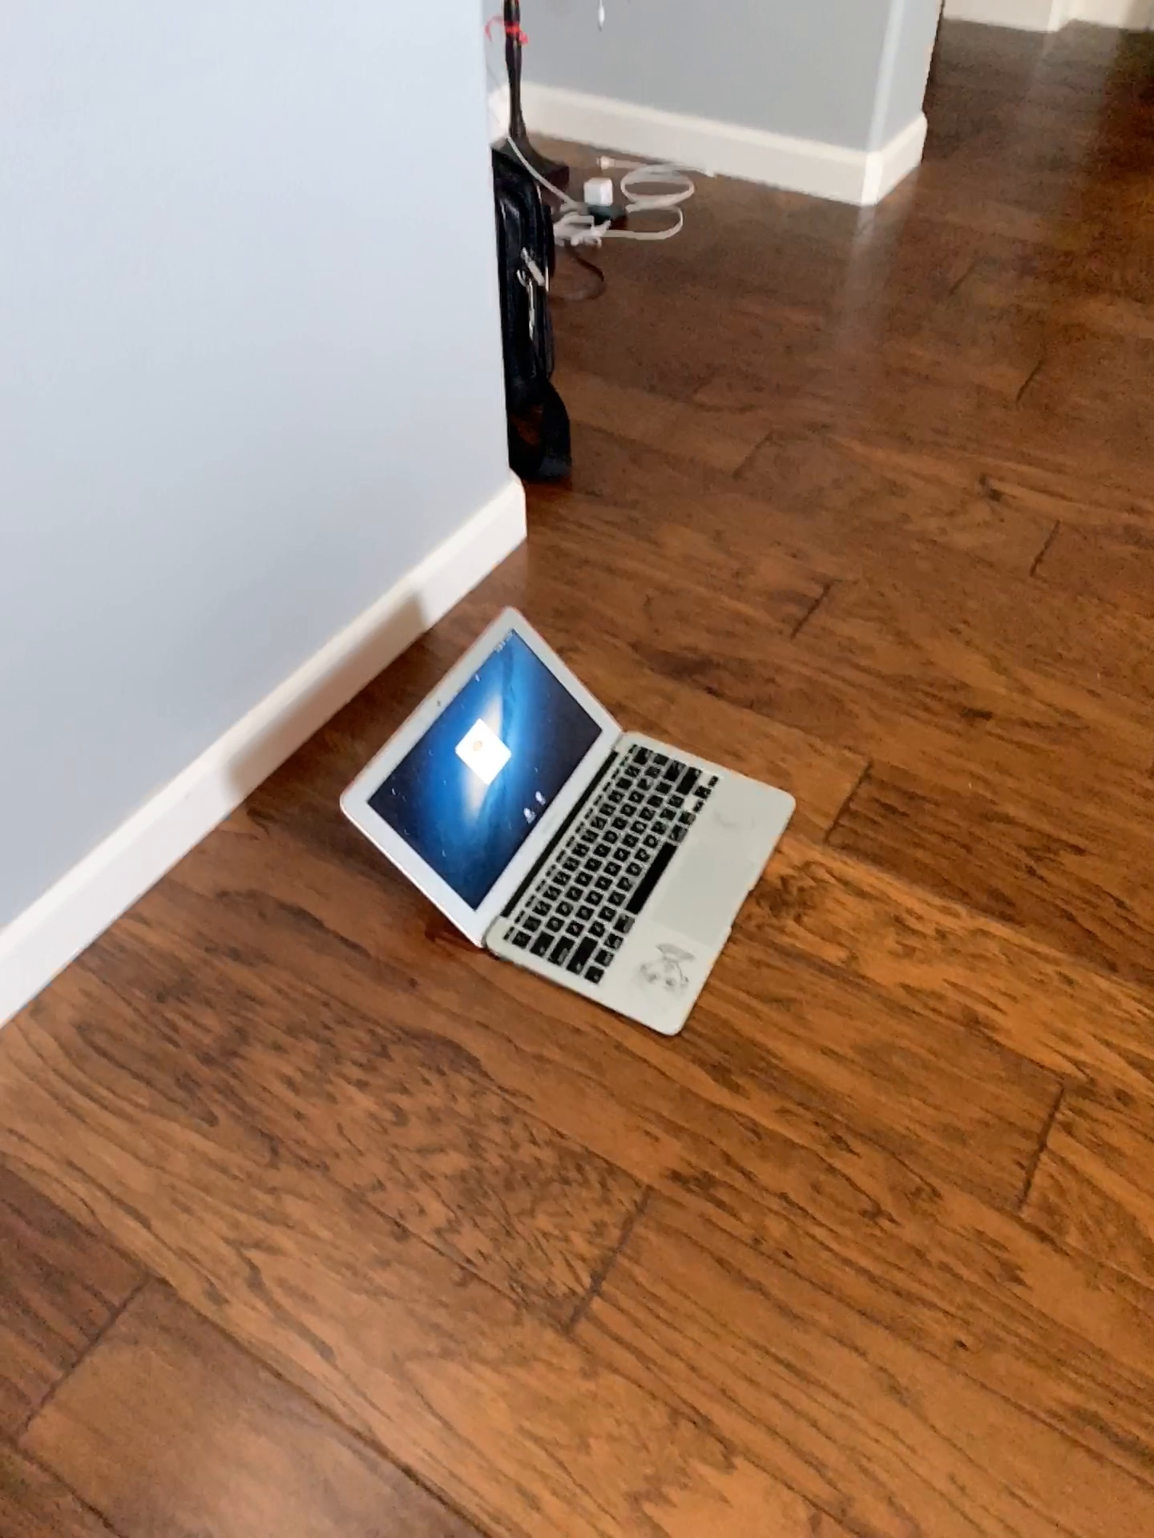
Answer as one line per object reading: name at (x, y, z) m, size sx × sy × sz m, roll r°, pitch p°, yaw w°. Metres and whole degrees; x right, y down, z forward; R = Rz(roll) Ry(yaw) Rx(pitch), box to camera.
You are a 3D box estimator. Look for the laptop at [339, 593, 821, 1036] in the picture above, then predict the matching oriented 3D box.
laptop at (0.011, 0.025, 1.071) m, size 0.322 × 0.117 × 0.294 m, roll 23°, pitch 52°, yaw 17°
